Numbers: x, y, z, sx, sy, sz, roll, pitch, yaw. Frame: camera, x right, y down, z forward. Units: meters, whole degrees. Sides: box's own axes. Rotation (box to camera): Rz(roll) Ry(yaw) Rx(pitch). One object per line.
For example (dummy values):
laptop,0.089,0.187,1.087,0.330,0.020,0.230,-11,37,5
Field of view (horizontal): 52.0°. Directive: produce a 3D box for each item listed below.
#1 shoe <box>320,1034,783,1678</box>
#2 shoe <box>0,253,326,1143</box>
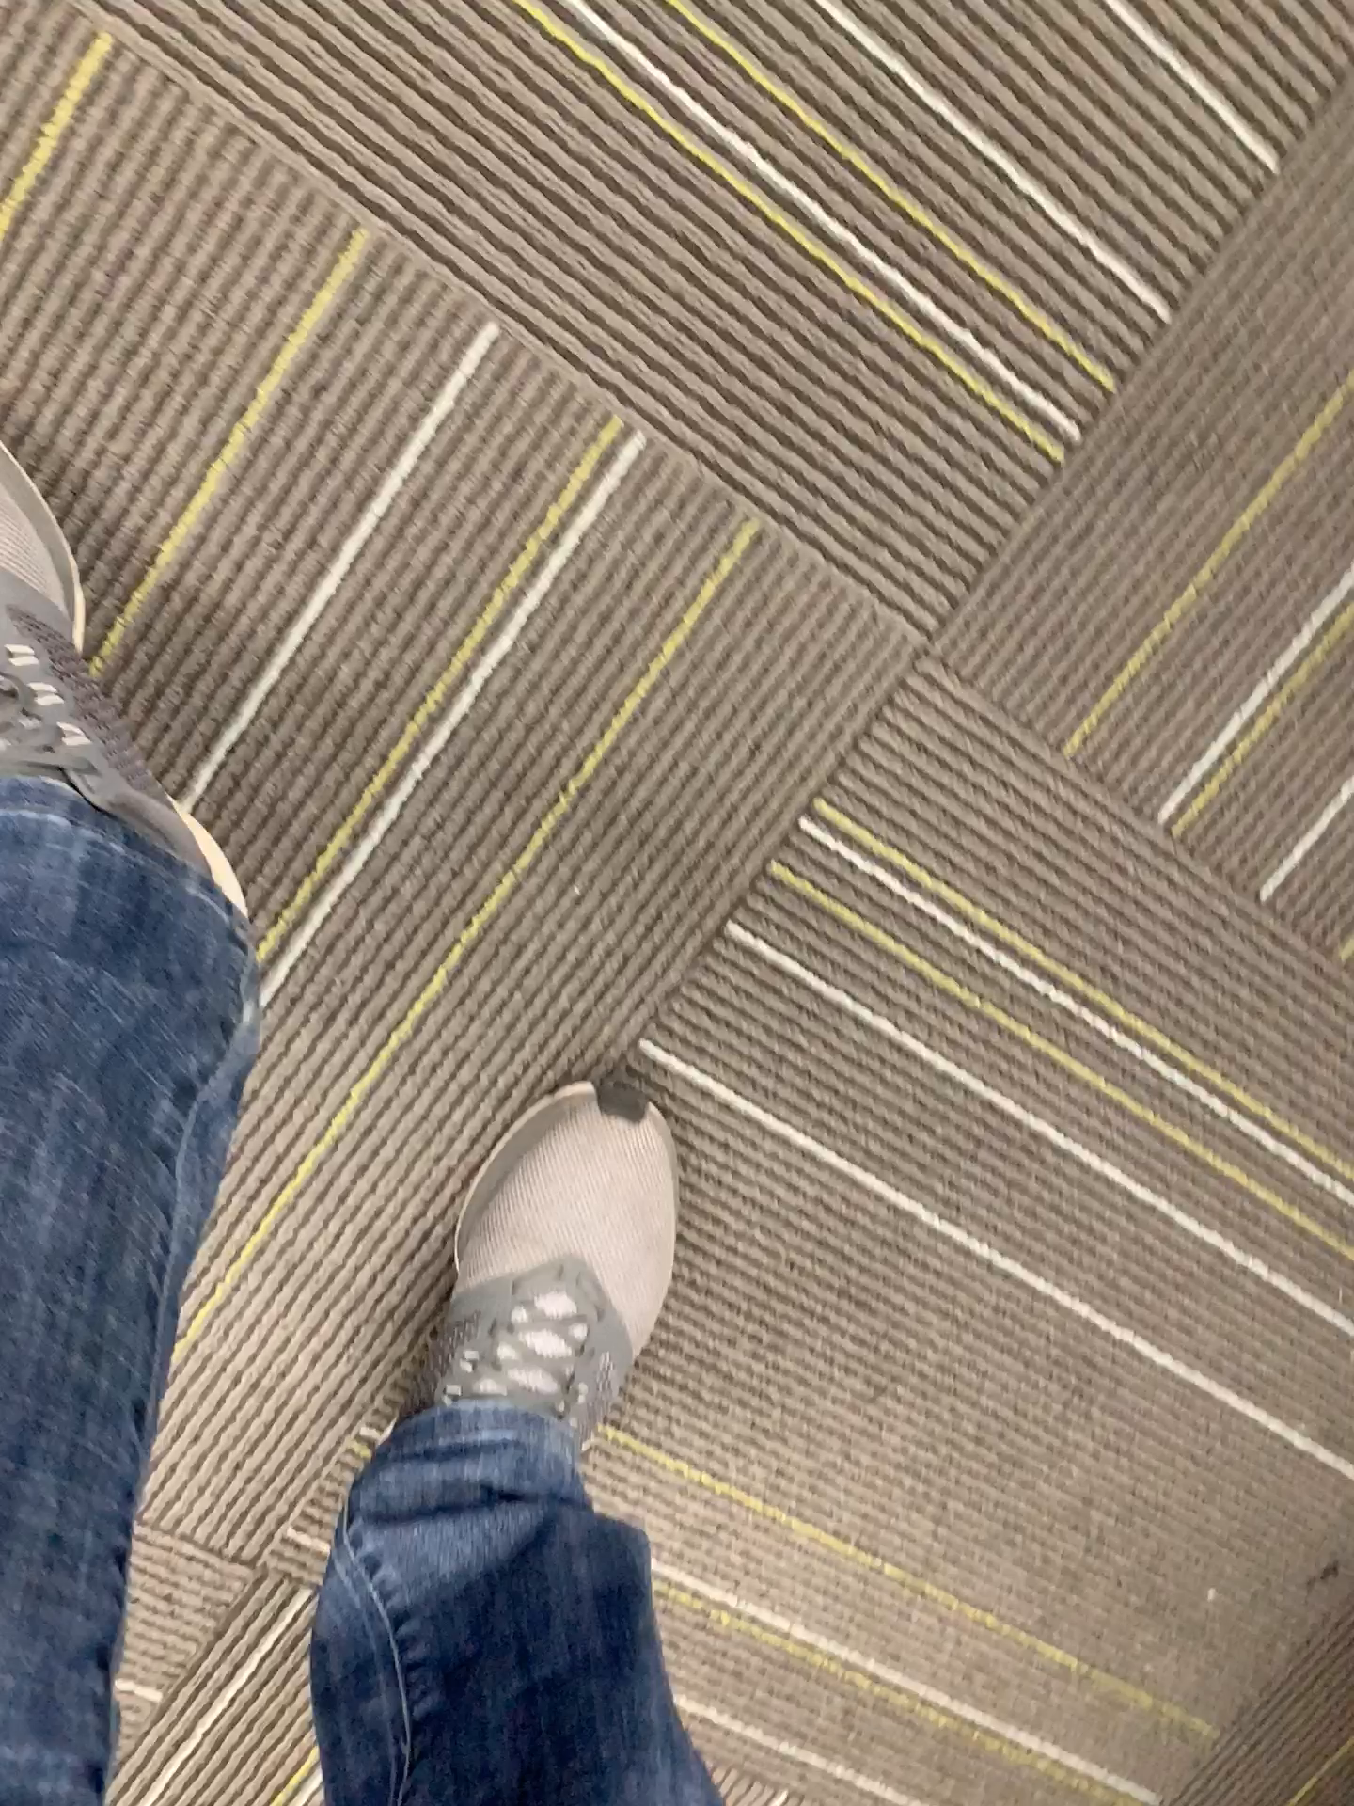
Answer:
shoe,-0.071,0.236,0.717,0.128,0.093,0.300,19,104,-14
shoe,-0.286,-0.075,0.571,0.131,0.093,0.313,-26,110,0
